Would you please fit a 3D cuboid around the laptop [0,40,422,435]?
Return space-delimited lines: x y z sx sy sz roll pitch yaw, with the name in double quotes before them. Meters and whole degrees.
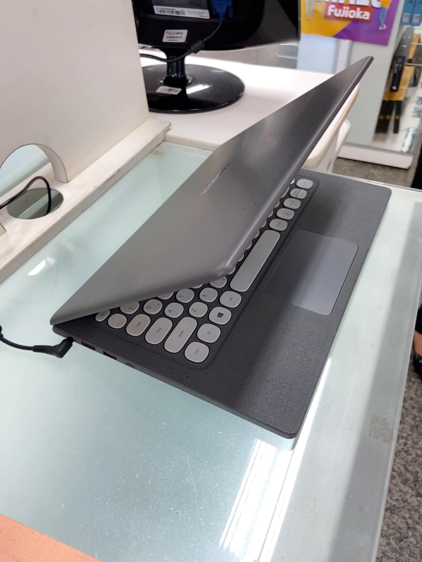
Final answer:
"laptop" 0.030 -0.078 0.378 0.211 0.132 0.318 18 49 20
